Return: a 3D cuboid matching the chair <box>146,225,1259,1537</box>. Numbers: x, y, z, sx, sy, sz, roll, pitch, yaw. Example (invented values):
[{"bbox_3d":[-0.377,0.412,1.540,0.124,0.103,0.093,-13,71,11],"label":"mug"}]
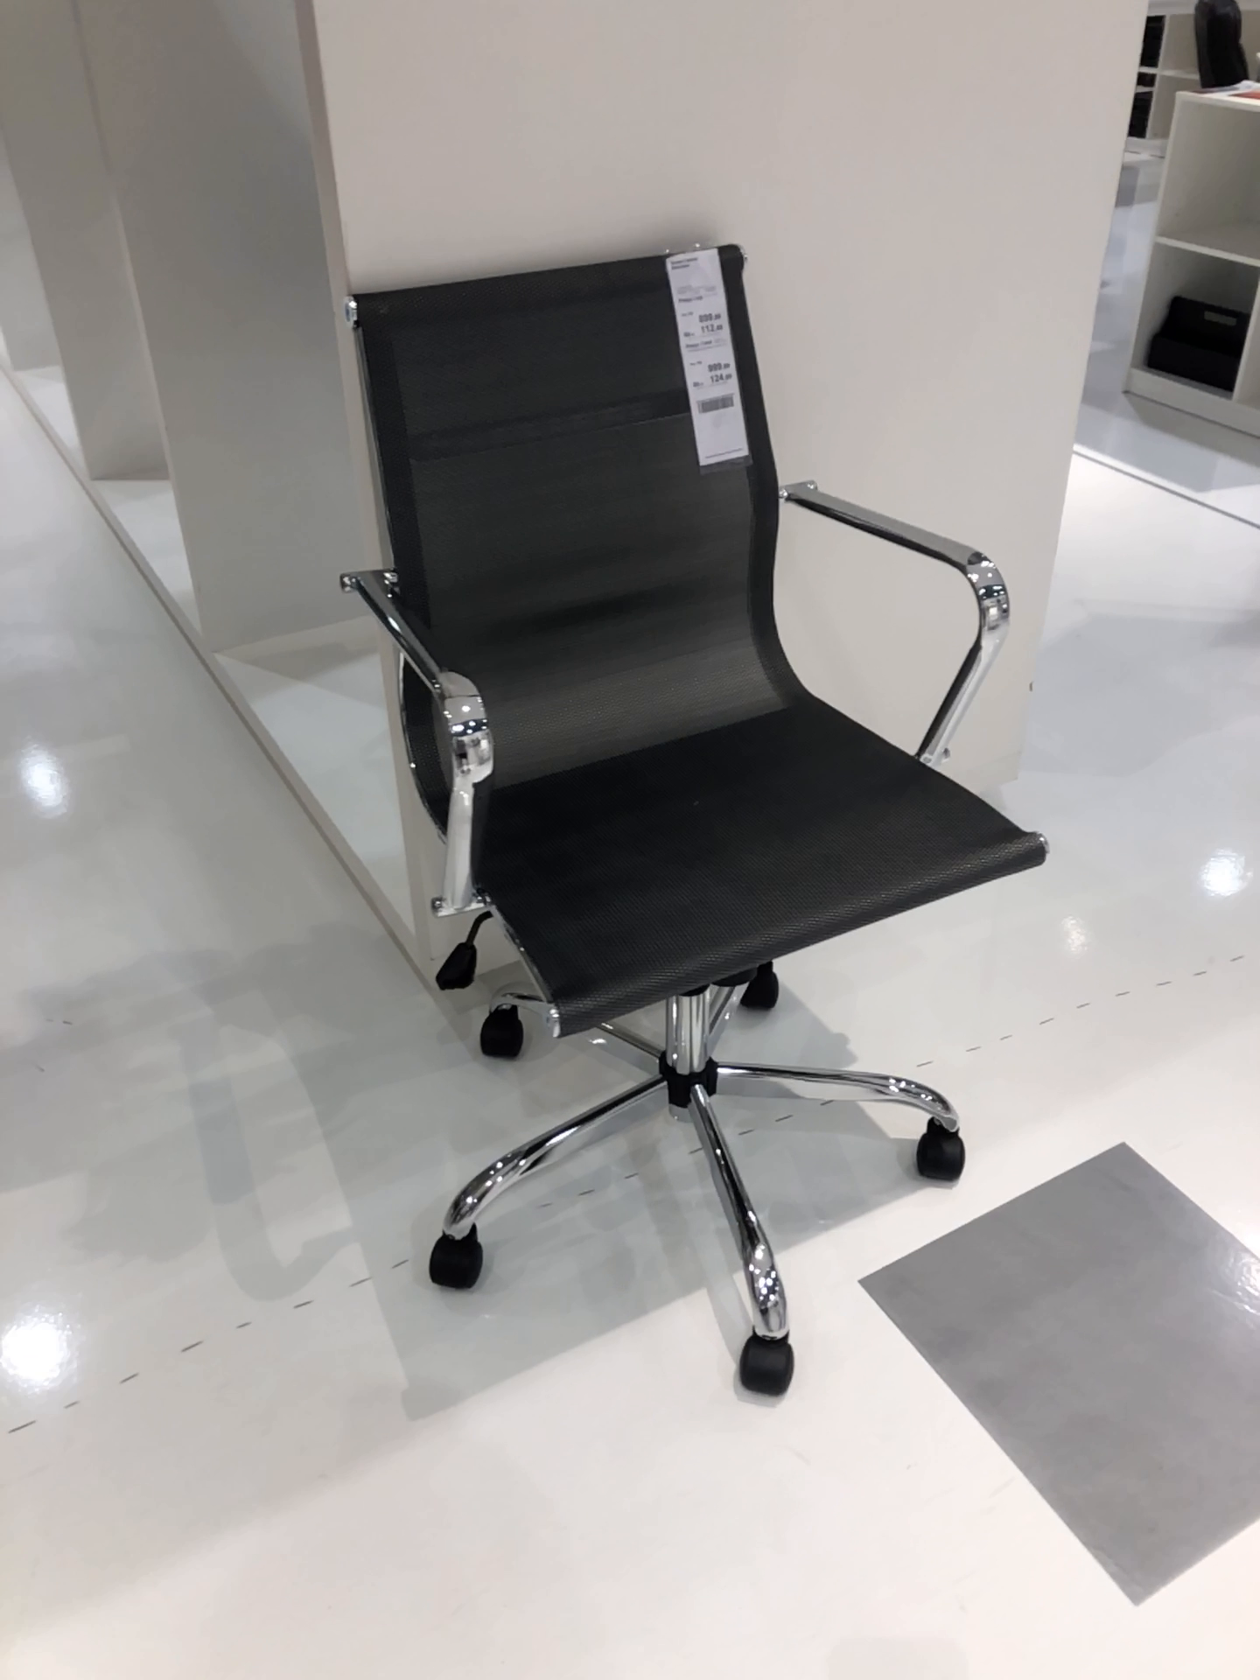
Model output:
[{"bbox_3d":[0.019,-0.010,1.318,0.621,0.903,0.654,-17,38,-22],"label":"chair"}]
